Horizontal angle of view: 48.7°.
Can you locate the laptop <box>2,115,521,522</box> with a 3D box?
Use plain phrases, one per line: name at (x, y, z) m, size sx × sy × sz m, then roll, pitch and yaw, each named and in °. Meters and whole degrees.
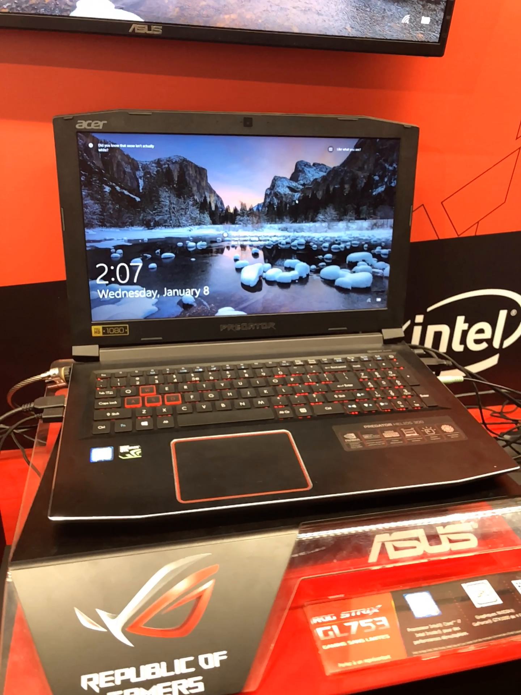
laptop at (0.012, -0.063, 0.531) m, size 0.385 × 0.240 × 0.295 m, roll -3°, pitch 27°, yaw -12°
